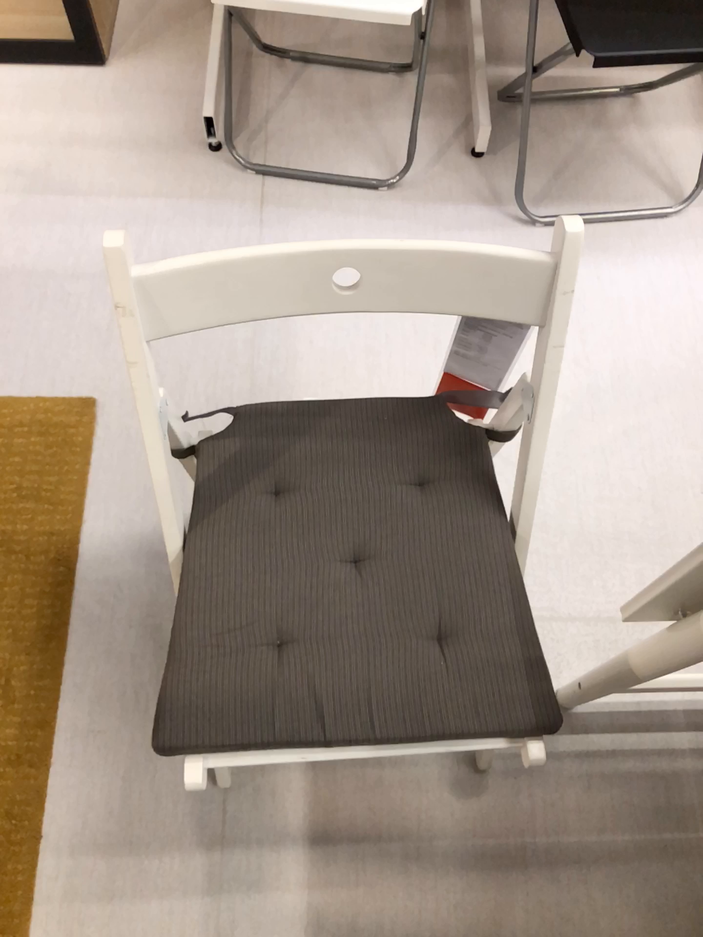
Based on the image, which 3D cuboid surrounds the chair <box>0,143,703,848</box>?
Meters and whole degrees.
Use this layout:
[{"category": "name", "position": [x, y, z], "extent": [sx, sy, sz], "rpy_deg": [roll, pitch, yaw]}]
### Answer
[{"category": "chair", "position": [-0.013, 0.110, 0.798], "extent": [0.440, 0.698, 0.452], "rpy_deg": [-2, 66, -2]}]
